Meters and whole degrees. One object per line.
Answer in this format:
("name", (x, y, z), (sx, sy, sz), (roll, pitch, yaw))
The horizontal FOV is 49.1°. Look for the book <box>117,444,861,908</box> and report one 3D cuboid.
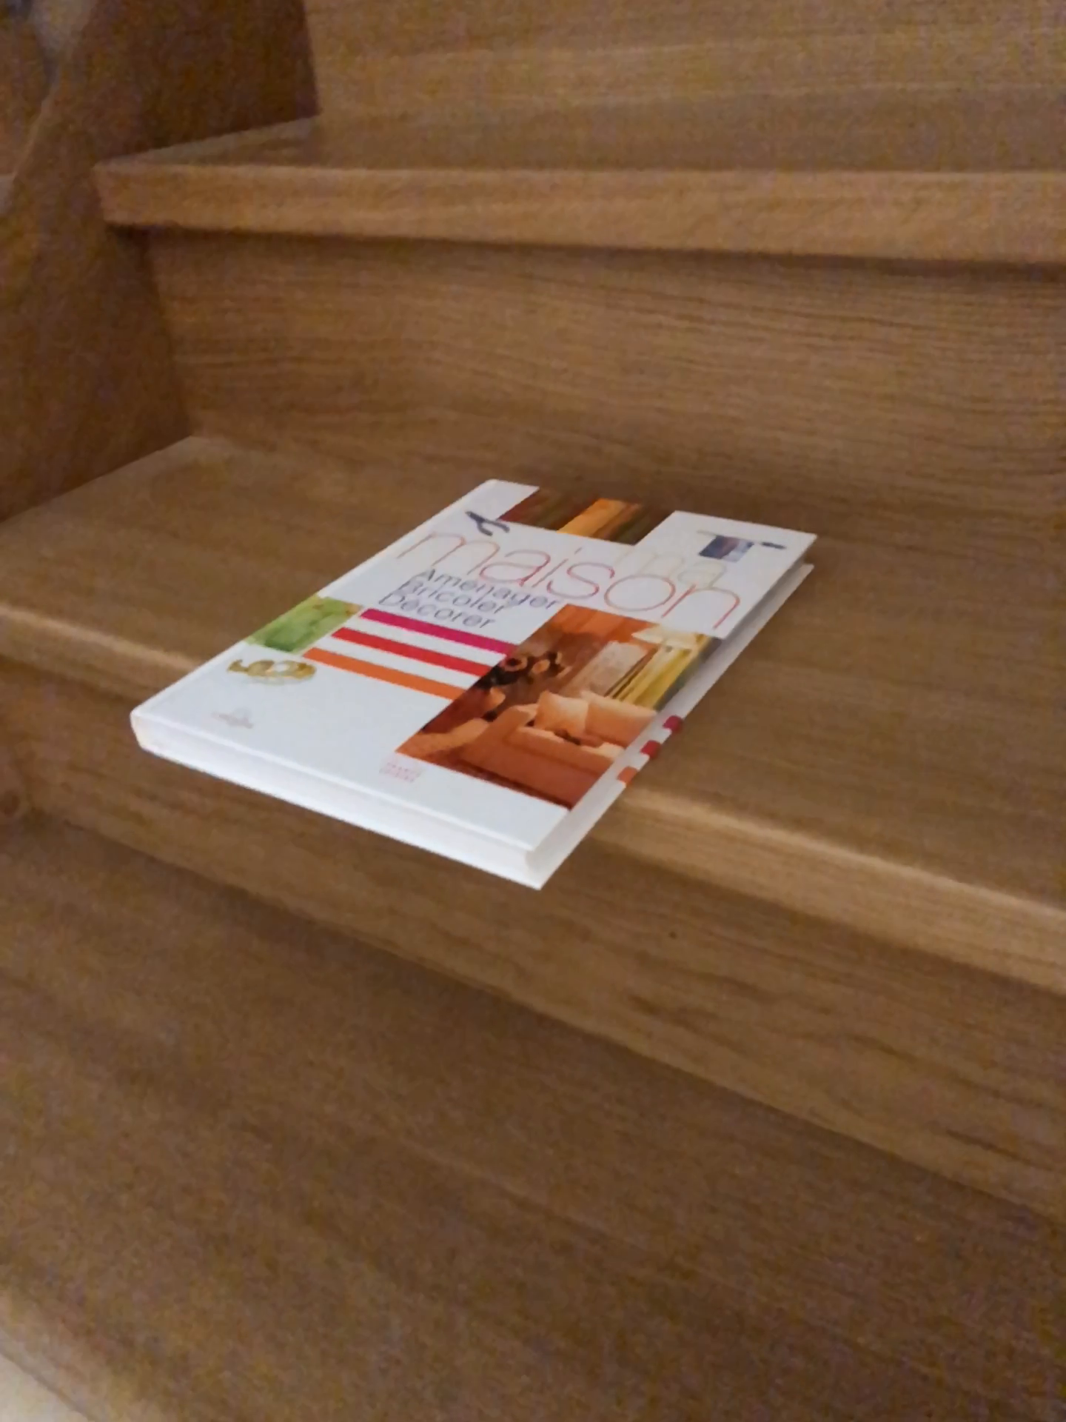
("book", (-0.001, -0.046, 0.548), (0.210, 0.030, 0.312), (15, 38, 29))
